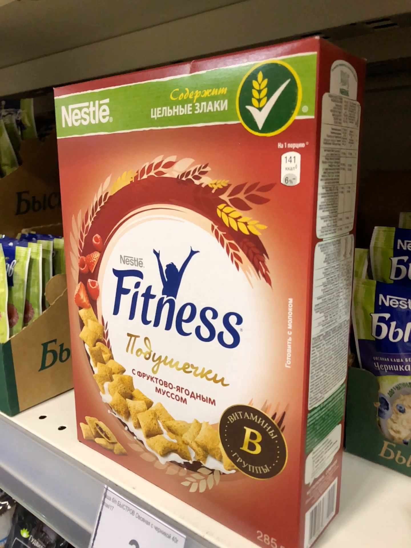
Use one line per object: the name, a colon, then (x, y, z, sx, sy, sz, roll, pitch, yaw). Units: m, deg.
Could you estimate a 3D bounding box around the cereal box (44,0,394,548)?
cereal box: (-0.006, 0.004, 0.250, 0.180, 0.239, 0.050, 9, 15, 38)
